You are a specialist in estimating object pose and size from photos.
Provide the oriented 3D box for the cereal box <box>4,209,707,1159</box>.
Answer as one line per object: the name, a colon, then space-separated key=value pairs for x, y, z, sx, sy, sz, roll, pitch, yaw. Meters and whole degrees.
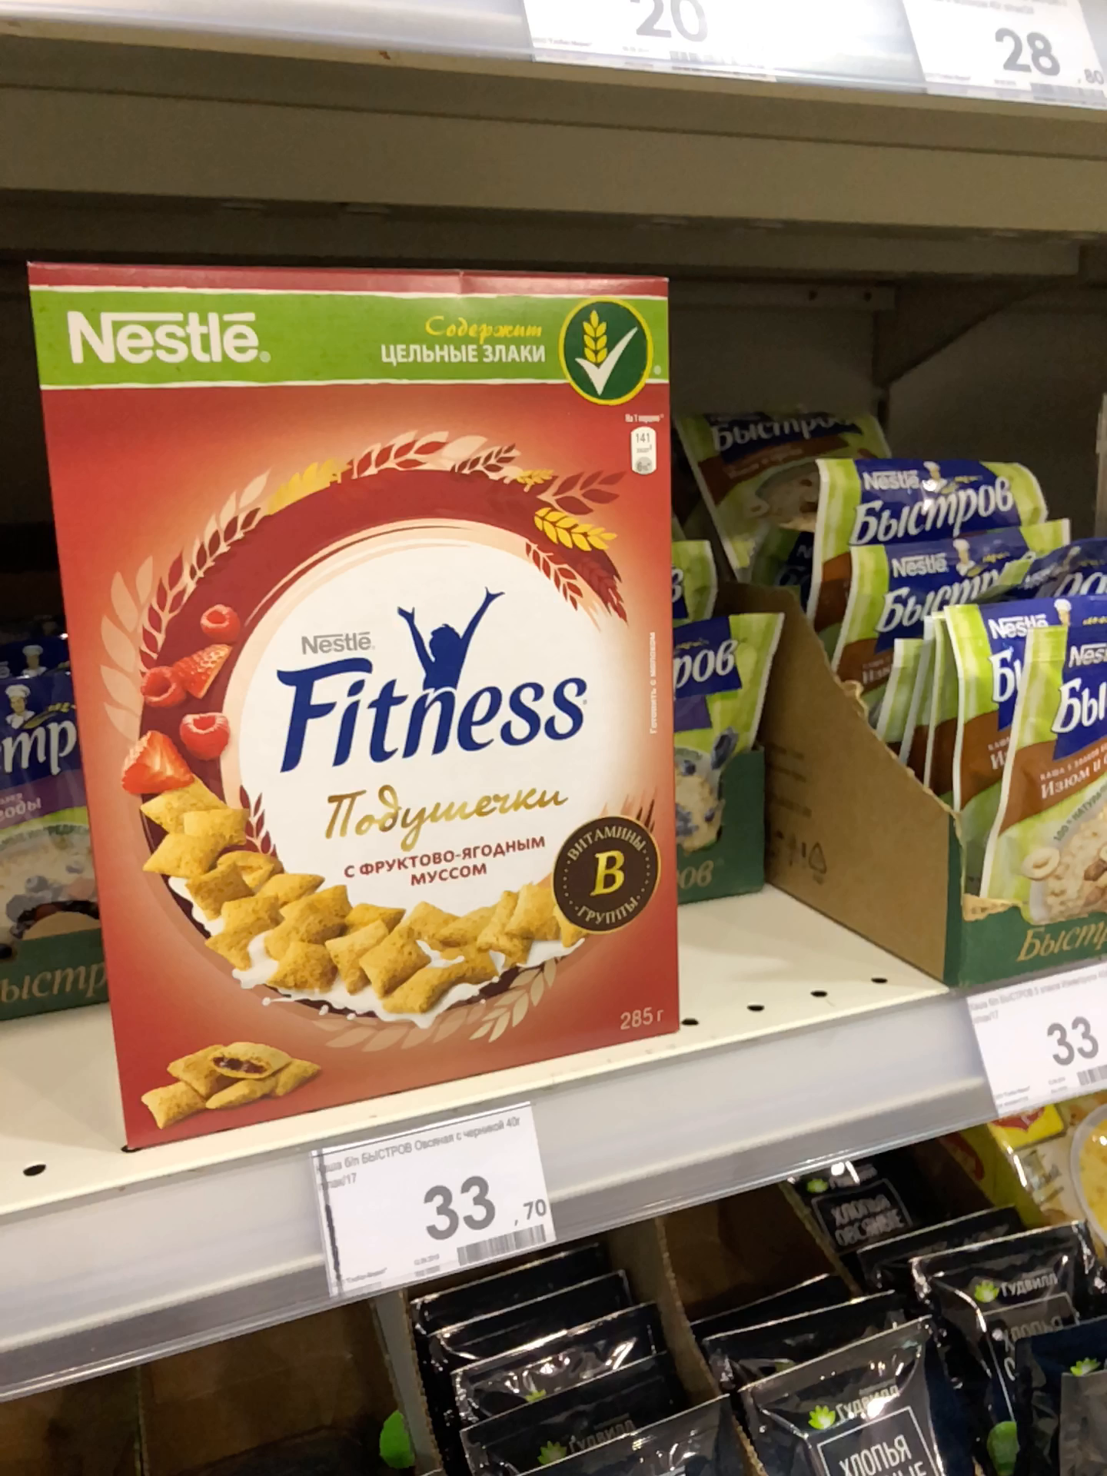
cereal box: x=-0.048 y=-0.019 z=0.360 sx=0.180 sy=0.239 sz=0.050 roll=-7 pitch=13 yaw=-21
